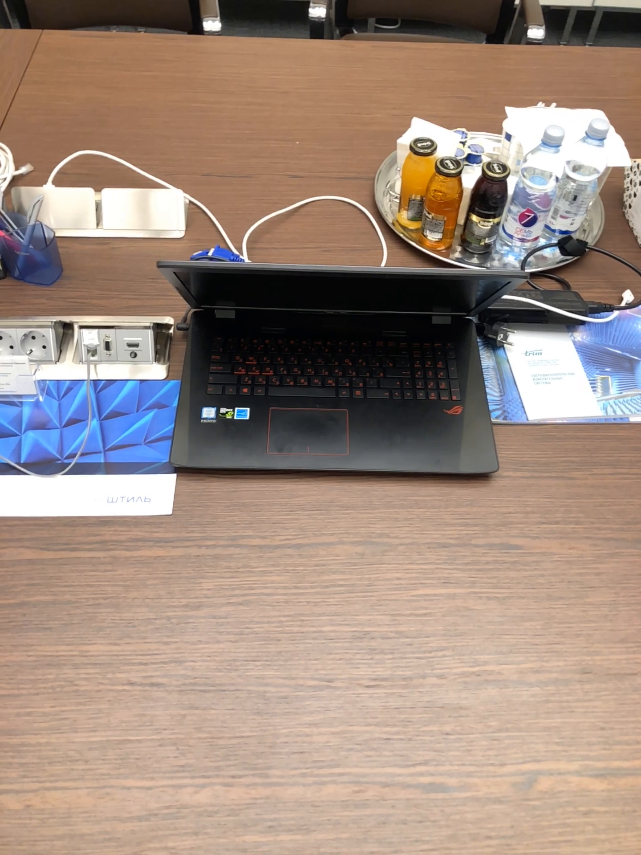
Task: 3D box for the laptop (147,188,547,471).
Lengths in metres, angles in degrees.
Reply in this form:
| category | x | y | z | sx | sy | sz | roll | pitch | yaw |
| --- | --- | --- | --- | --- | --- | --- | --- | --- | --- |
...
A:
| category | x | y | z | sx | sy | sz | roll | pitch | yaw |
| --- | --- | --- | --- | --- | --- | --- | --- | --- | --- |
| laptop | 0.023 | -0.109 | 0.803 | 0.376 | 0.189 | 0.238 | 1 | 55 | -2 |
